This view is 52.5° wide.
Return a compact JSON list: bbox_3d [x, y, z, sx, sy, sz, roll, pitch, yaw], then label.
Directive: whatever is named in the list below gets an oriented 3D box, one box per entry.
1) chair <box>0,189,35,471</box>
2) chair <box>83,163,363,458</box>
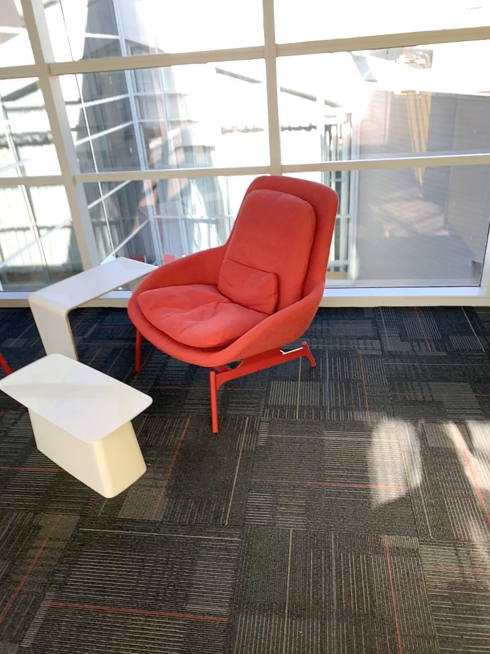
[{"bbox_3d":[-1.862,-0.065,2.656,0.824,1.054,0.871,21,38,39],"label":"chair"},{"bbox_3d":[-0.068,-0.179,2.474,0.921,0.994,0.874,-28,36,-36],"label":"chair"}]
